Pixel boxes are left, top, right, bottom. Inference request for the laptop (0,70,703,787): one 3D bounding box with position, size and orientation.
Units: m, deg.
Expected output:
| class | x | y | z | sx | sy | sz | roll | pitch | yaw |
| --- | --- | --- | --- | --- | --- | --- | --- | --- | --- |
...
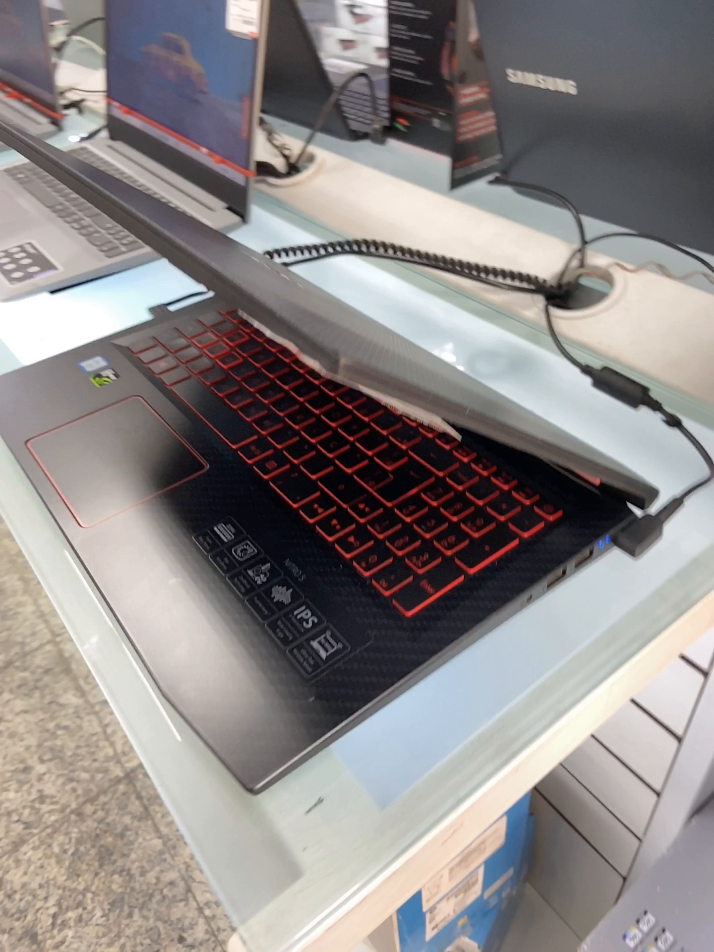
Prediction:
| class | x | y | z | sx | sy | sz | roll | pitch | yaw |
| --- | --- | --- | --- | --- | --- | --- | --- | --- | --- |
| laptop | -0.068 | -0.085 | 0.406 | 0.234 | 0.163 | 0.381 | -29 | 45 | -24 |
